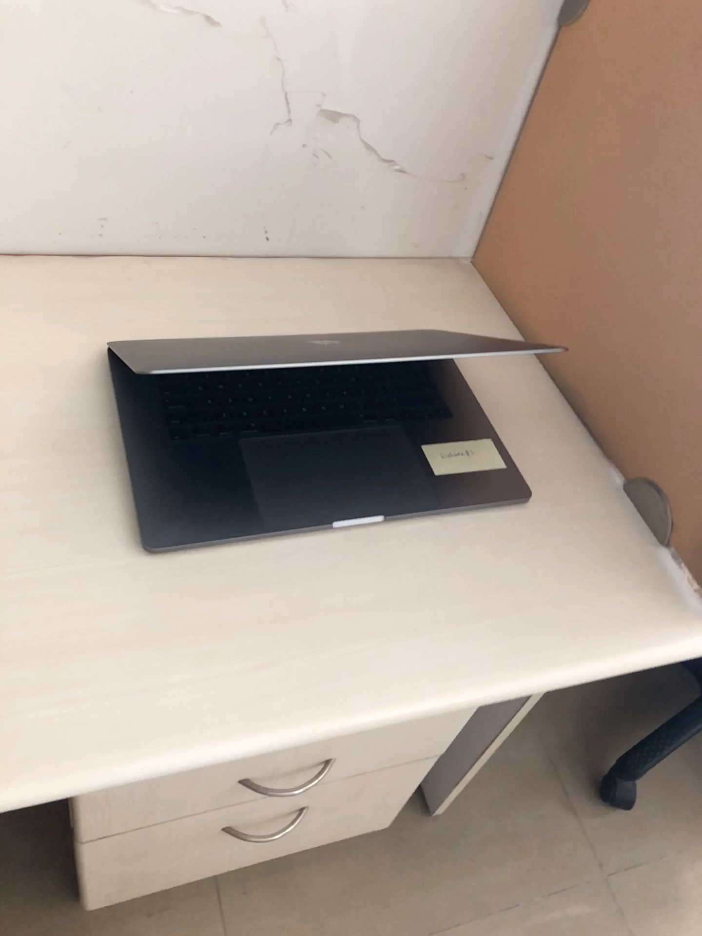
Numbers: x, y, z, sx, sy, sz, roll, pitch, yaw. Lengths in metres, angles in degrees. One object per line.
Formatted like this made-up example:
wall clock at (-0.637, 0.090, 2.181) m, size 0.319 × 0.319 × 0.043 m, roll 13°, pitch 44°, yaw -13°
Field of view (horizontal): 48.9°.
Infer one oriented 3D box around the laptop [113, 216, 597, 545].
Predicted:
laptop at (-0.016, -0.088, 0.647) m, size 0.330 × 0.134 × 0.234 m, roll -6°, pitch 48°, yaw -21°
